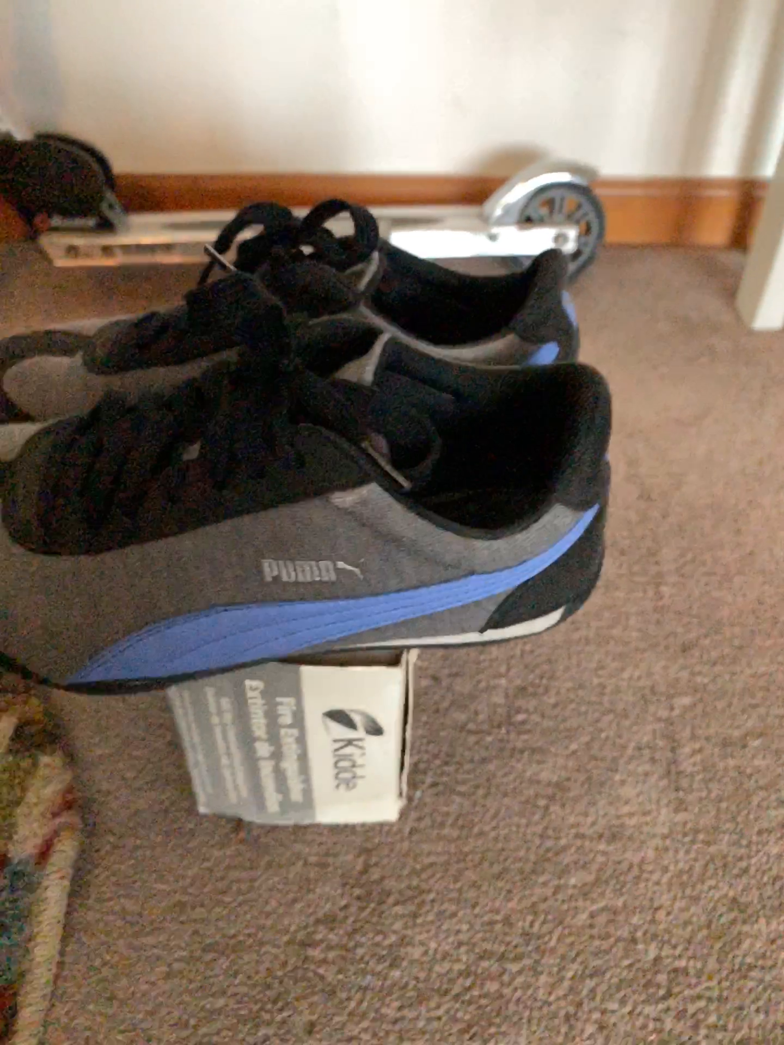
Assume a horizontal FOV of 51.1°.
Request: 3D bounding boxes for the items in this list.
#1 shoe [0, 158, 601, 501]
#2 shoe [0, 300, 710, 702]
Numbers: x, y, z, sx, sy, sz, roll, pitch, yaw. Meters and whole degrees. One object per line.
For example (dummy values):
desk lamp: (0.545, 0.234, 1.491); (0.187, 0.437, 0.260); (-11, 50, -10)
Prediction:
shoe: (-0.052, -0.080, 0.330); (0.240, 0.077, 0.111); (-3, 43, 1)
shoe: (-0.048, -0.011, 0.262); (0.250, 0.077, 0.101); (-2, 38, 0)
